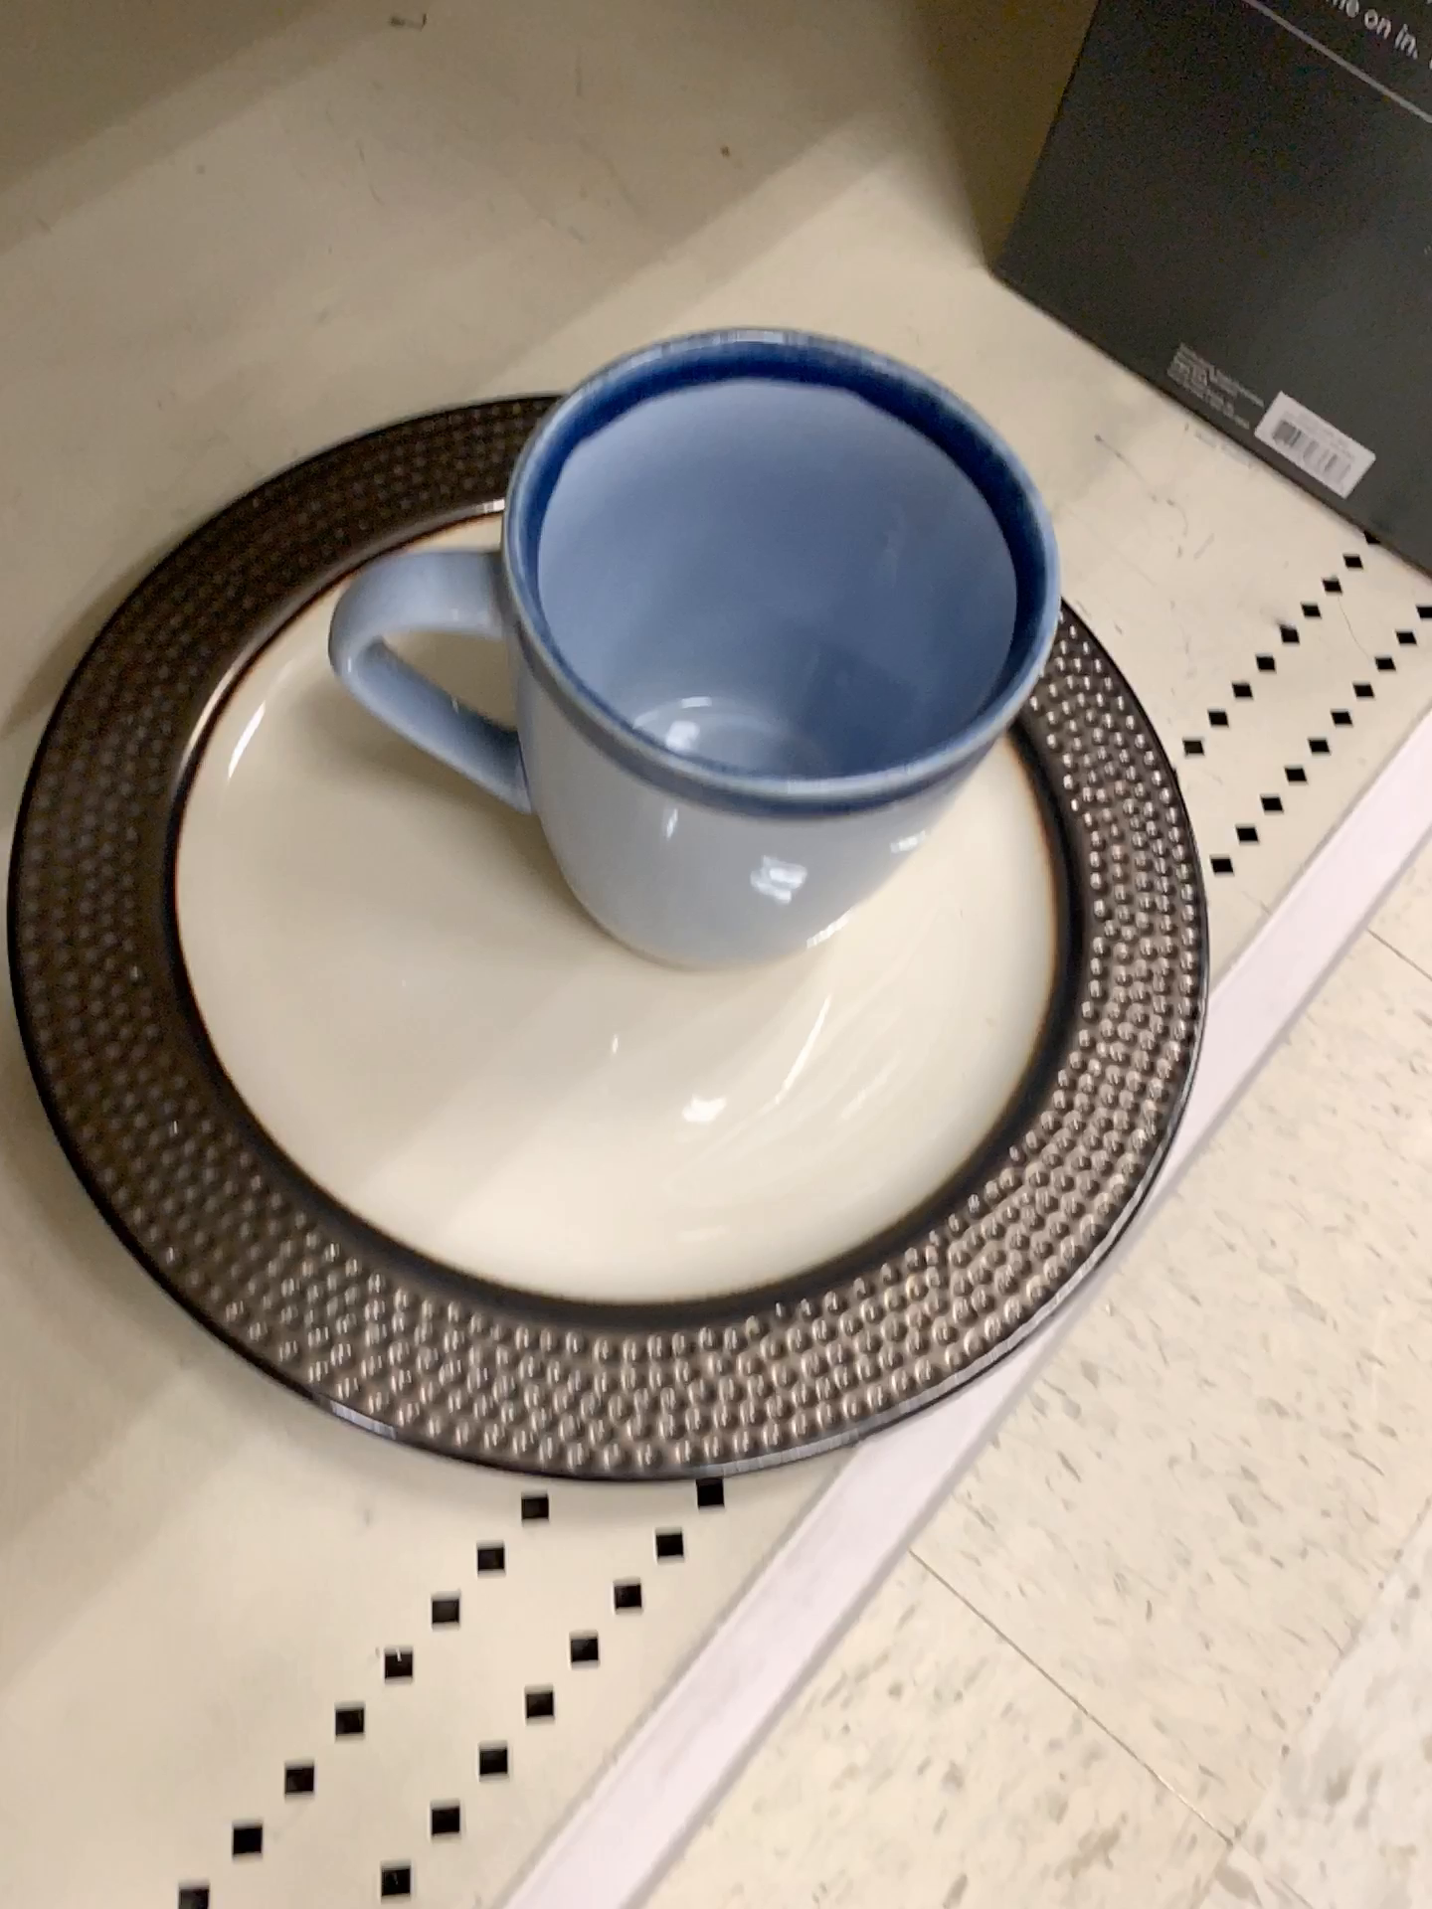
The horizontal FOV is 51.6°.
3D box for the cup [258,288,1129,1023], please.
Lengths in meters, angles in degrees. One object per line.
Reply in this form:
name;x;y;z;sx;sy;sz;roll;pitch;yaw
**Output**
cup;-0.008;-0.047;0.276;0.127;0.094;0.094;1;69;-8
